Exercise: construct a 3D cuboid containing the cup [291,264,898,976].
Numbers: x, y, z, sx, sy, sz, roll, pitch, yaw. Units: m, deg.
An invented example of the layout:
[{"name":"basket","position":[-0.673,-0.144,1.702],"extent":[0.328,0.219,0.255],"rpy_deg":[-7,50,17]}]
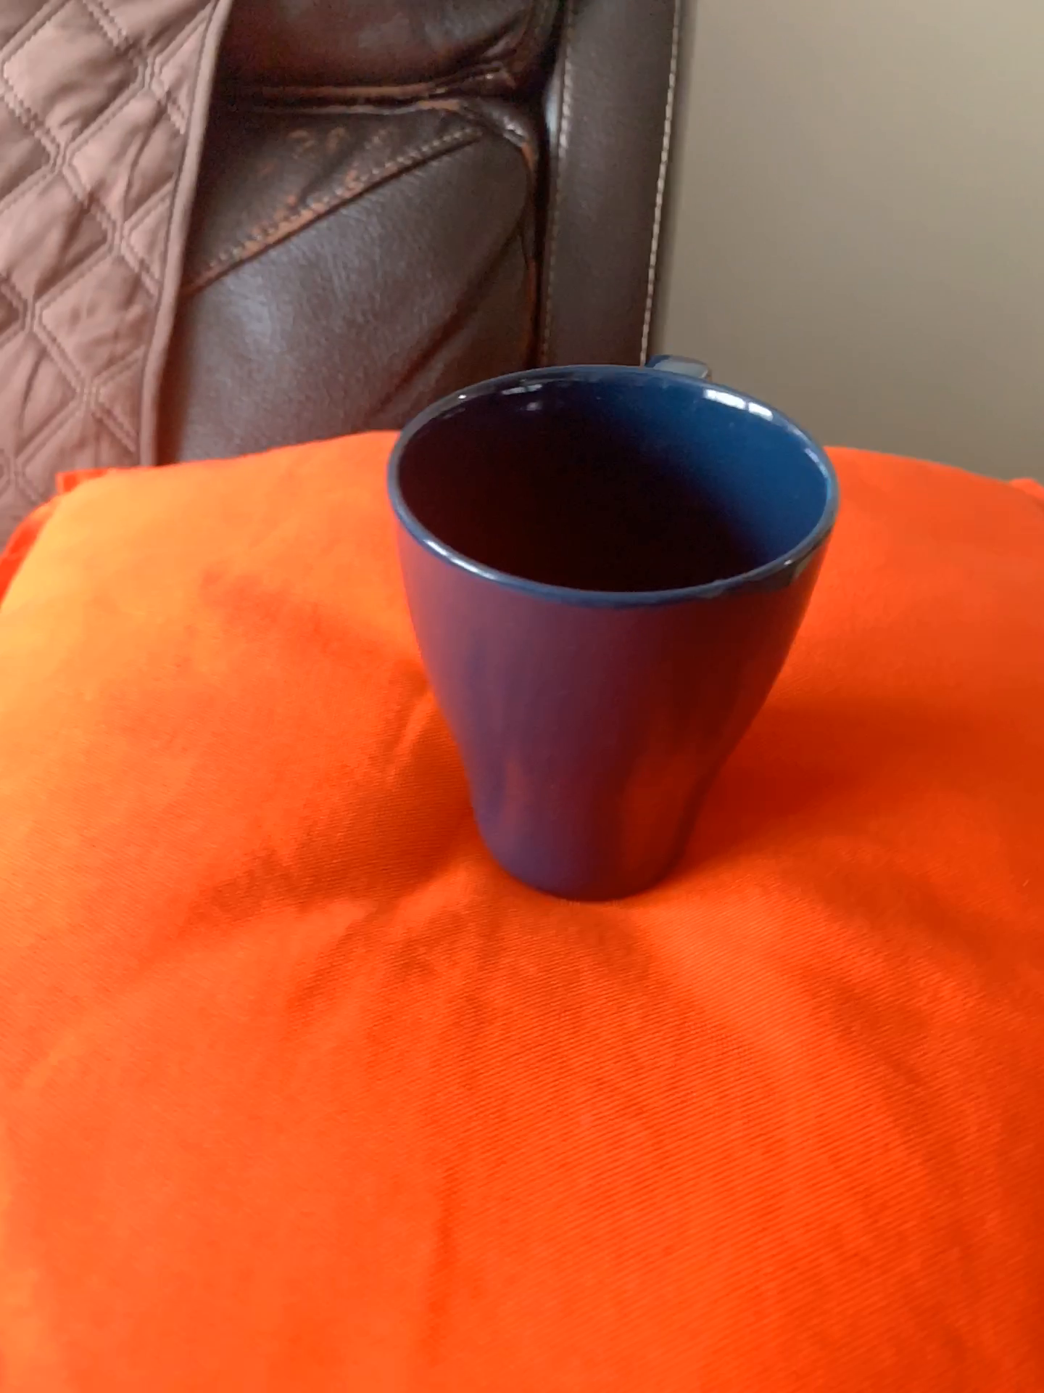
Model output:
[{"name":"cup","position":[0.021,-0.025,0.232],"extent":[0.080,0.079,0.121],"rpy_deg":[17,43,14]}]
